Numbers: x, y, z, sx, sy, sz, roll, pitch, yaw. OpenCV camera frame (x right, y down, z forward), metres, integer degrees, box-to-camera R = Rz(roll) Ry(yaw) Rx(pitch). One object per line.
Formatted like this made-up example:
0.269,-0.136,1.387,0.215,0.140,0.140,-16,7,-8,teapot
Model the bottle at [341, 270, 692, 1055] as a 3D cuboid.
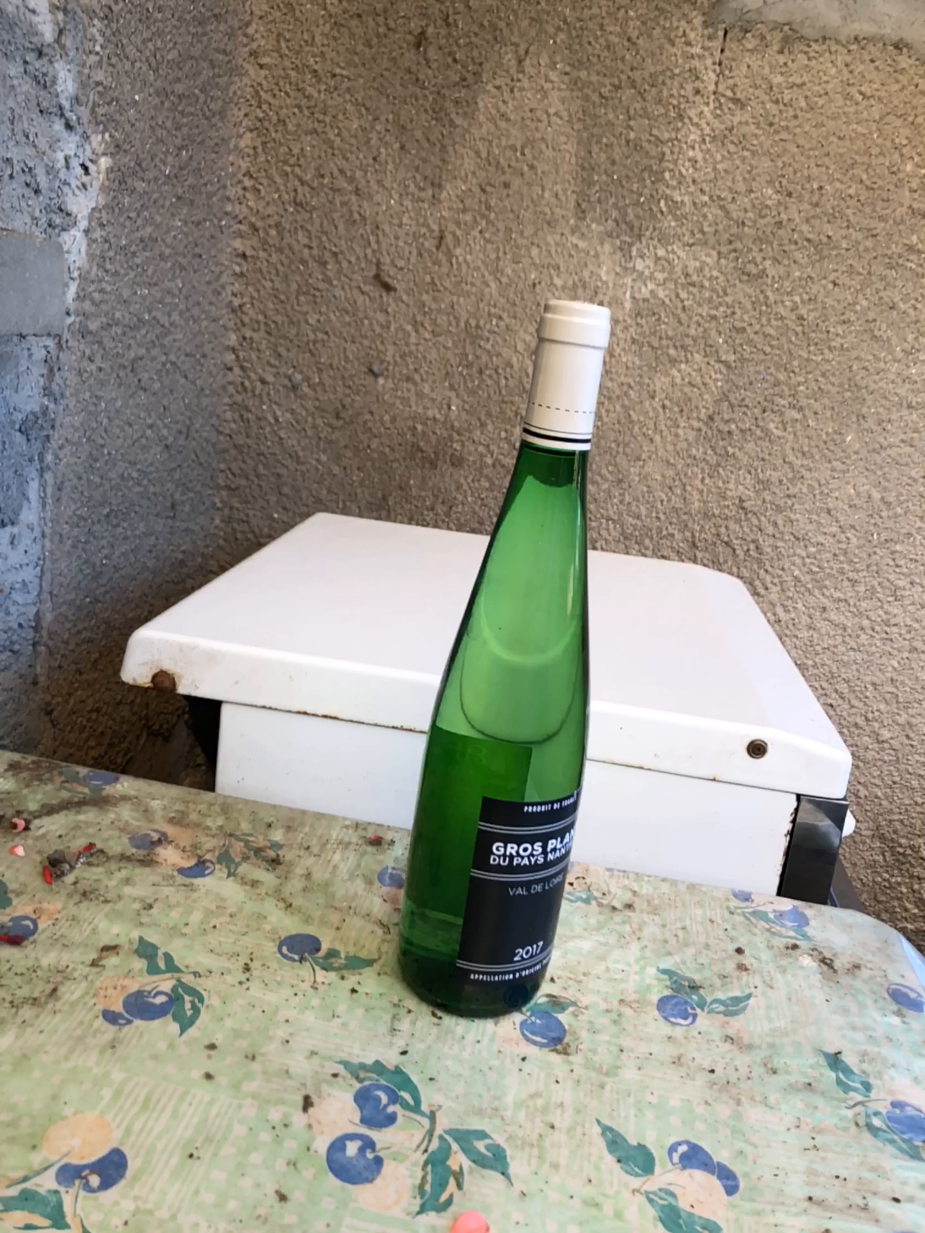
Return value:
0.016,0.024,0.472,0.080,0.339,0.080,8,16,-2,bottle
